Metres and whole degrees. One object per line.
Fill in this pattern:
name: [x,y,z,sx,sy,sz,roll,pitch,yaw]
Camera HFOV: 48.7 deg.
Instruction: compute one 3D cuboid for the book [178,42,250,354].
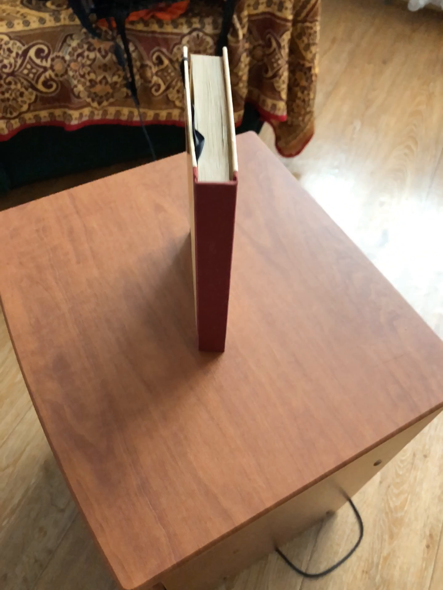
book: [-0.011,-0.070,0.415,0.041,0.203,0.163,-2,55,-3]
